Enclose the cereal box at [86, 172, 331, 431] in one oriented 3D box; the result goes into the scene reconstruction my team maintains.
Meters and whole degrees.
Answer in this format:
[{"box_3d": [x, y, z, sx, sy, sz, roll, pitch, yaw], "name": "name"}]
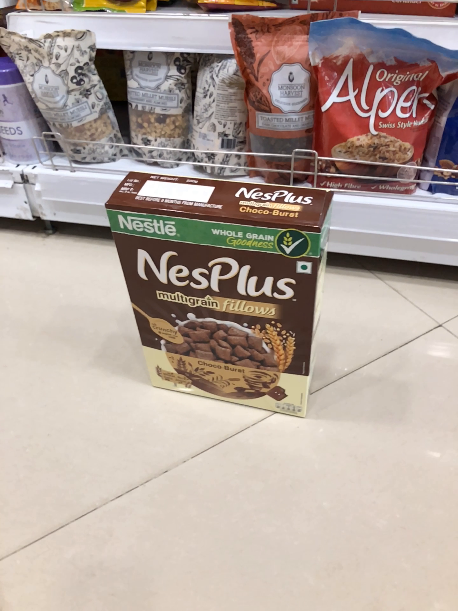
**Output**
[{"box_3d": [-0.011, 0.006, 0.516, 0.200, 0.258, 0.060, 9, 44, 14], "name": "cereal box"}]
